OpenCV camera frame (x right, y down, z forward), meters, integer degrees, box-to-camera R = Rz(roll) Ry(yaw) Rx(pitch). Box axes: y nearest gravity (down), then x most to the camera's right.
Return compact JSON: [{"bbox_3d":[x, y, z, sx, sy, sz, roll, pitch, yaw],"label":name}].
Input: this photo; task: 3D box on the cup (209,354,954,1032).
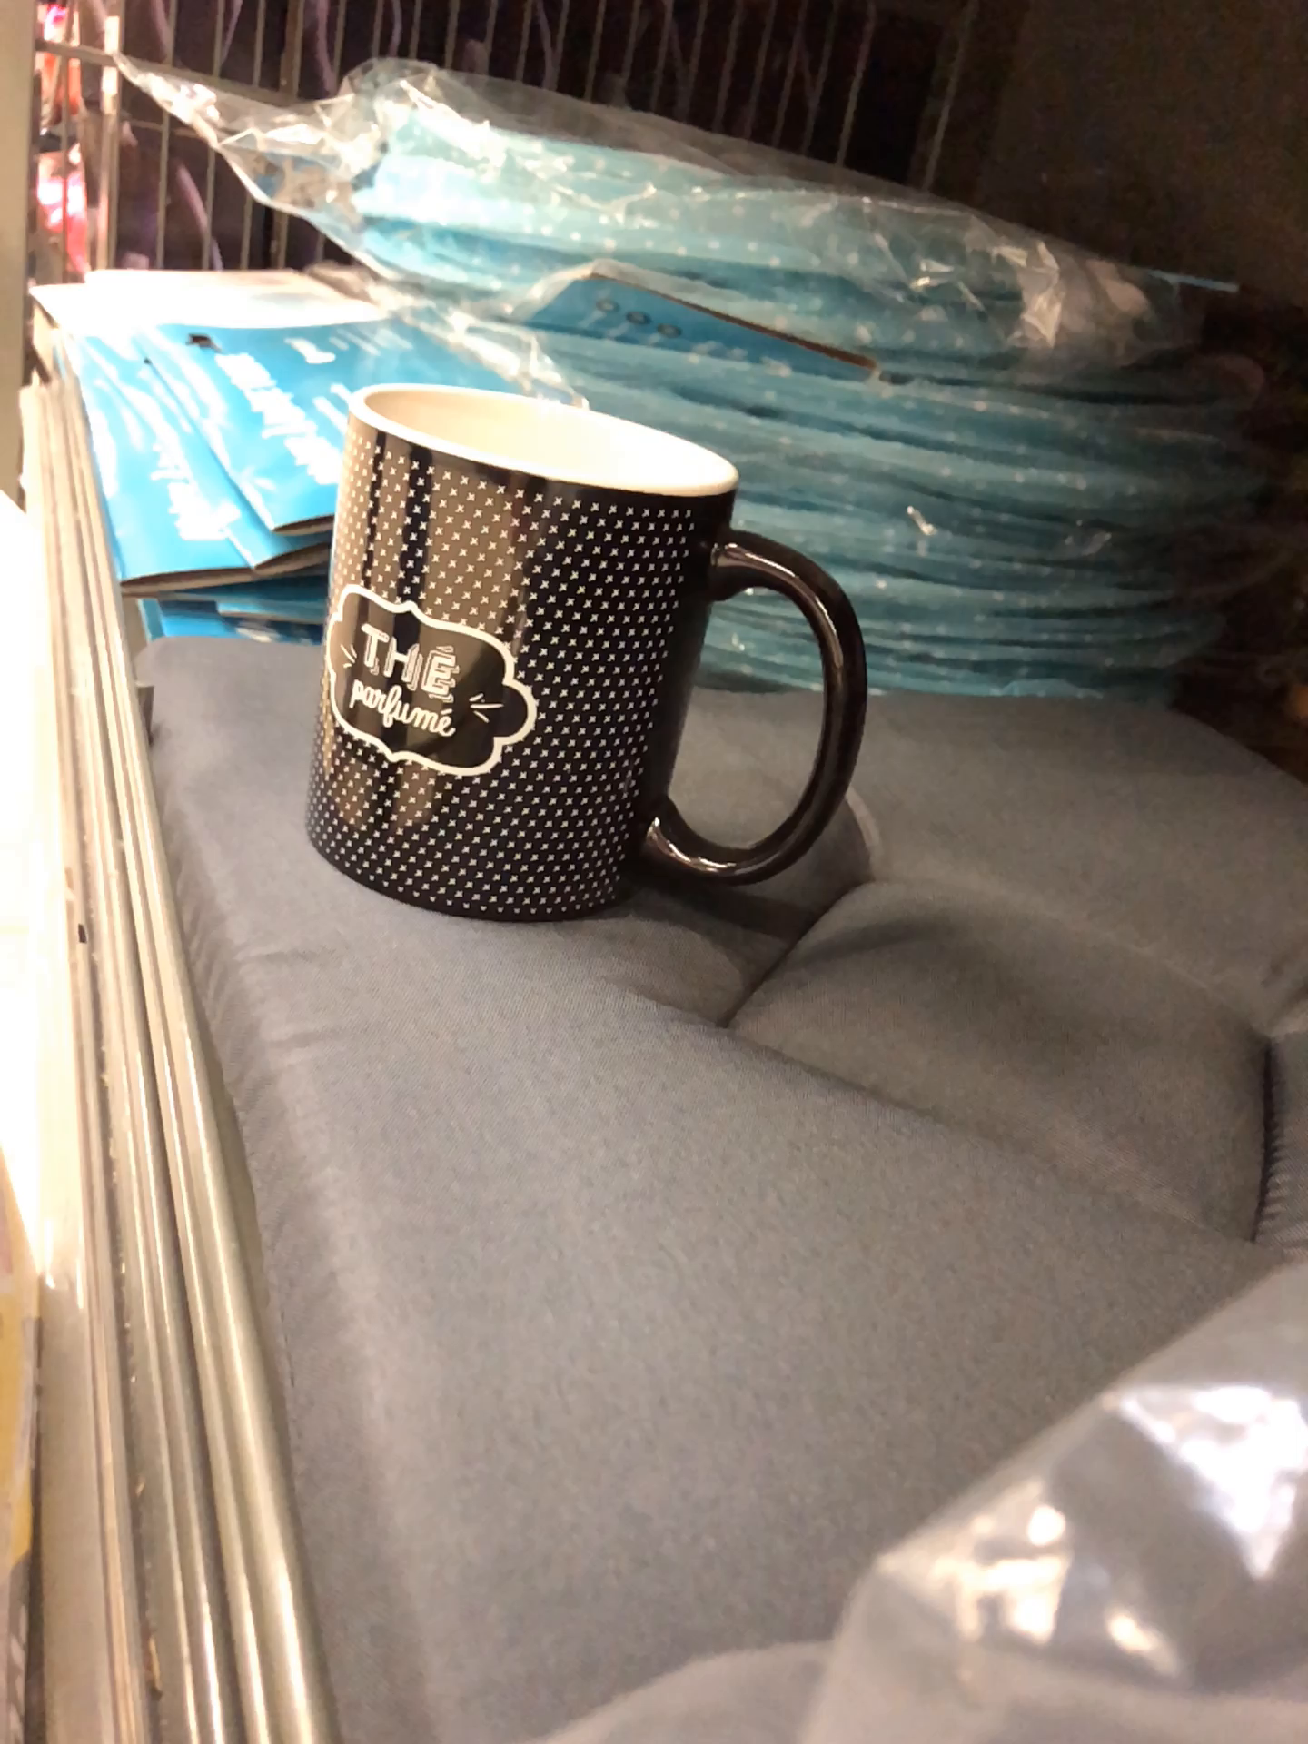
[{"bbox_3d":[-0.015,-0.047,0.317,0.120,0.099,0.091,20,25,15],"label":"cup"}]
